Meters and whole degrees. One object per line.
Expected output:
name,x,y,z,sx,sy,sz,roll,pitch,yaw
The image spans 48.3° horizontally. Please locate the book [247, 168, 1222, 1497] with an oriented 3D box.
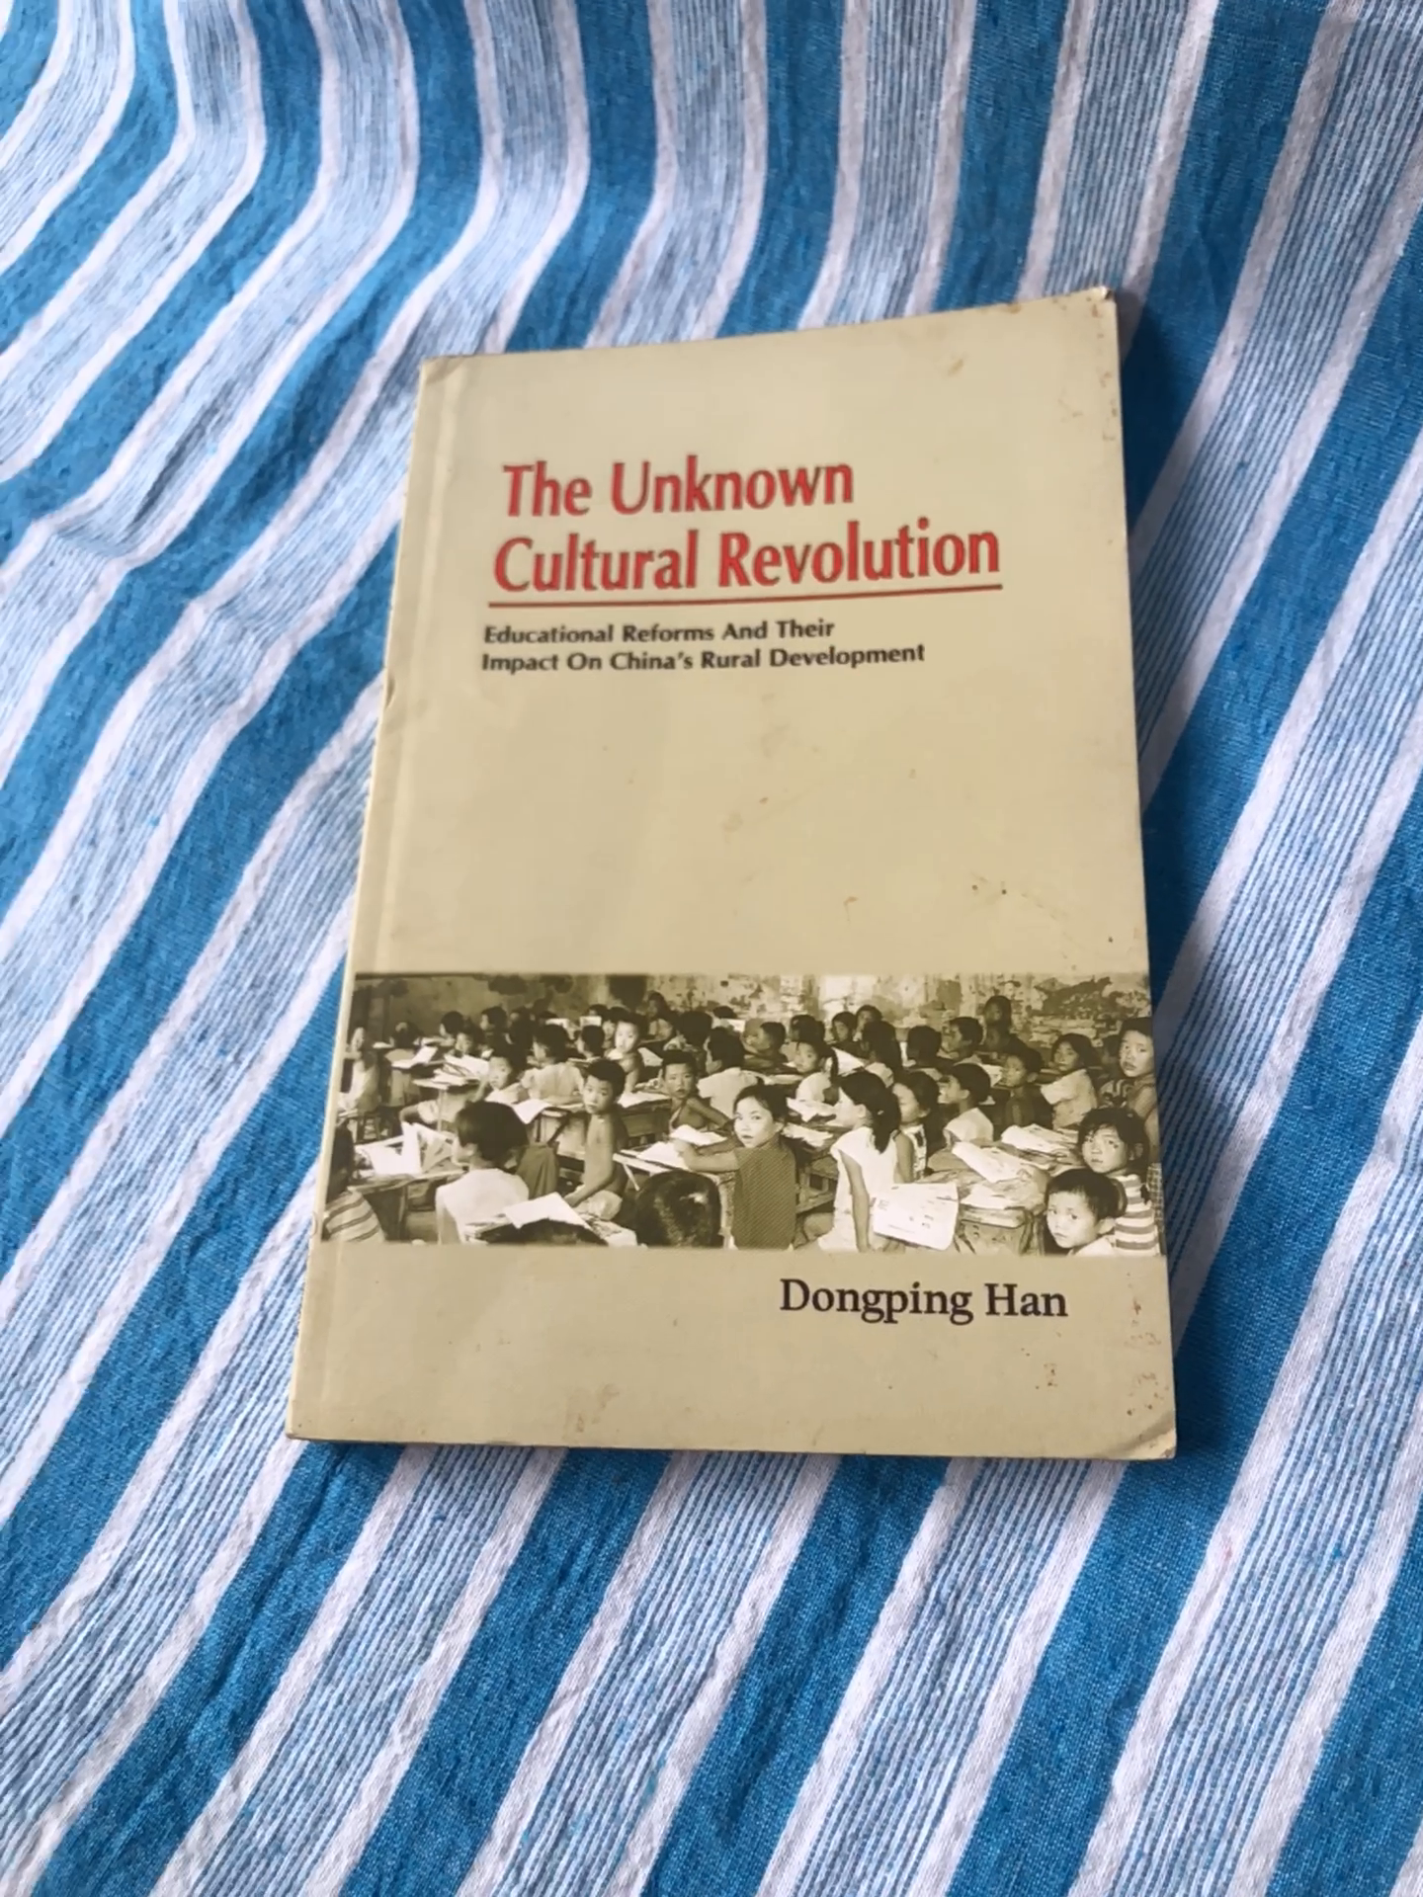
book,0.008,-0.031,0.274,0.140,0.020,0.230,-2,67,14
